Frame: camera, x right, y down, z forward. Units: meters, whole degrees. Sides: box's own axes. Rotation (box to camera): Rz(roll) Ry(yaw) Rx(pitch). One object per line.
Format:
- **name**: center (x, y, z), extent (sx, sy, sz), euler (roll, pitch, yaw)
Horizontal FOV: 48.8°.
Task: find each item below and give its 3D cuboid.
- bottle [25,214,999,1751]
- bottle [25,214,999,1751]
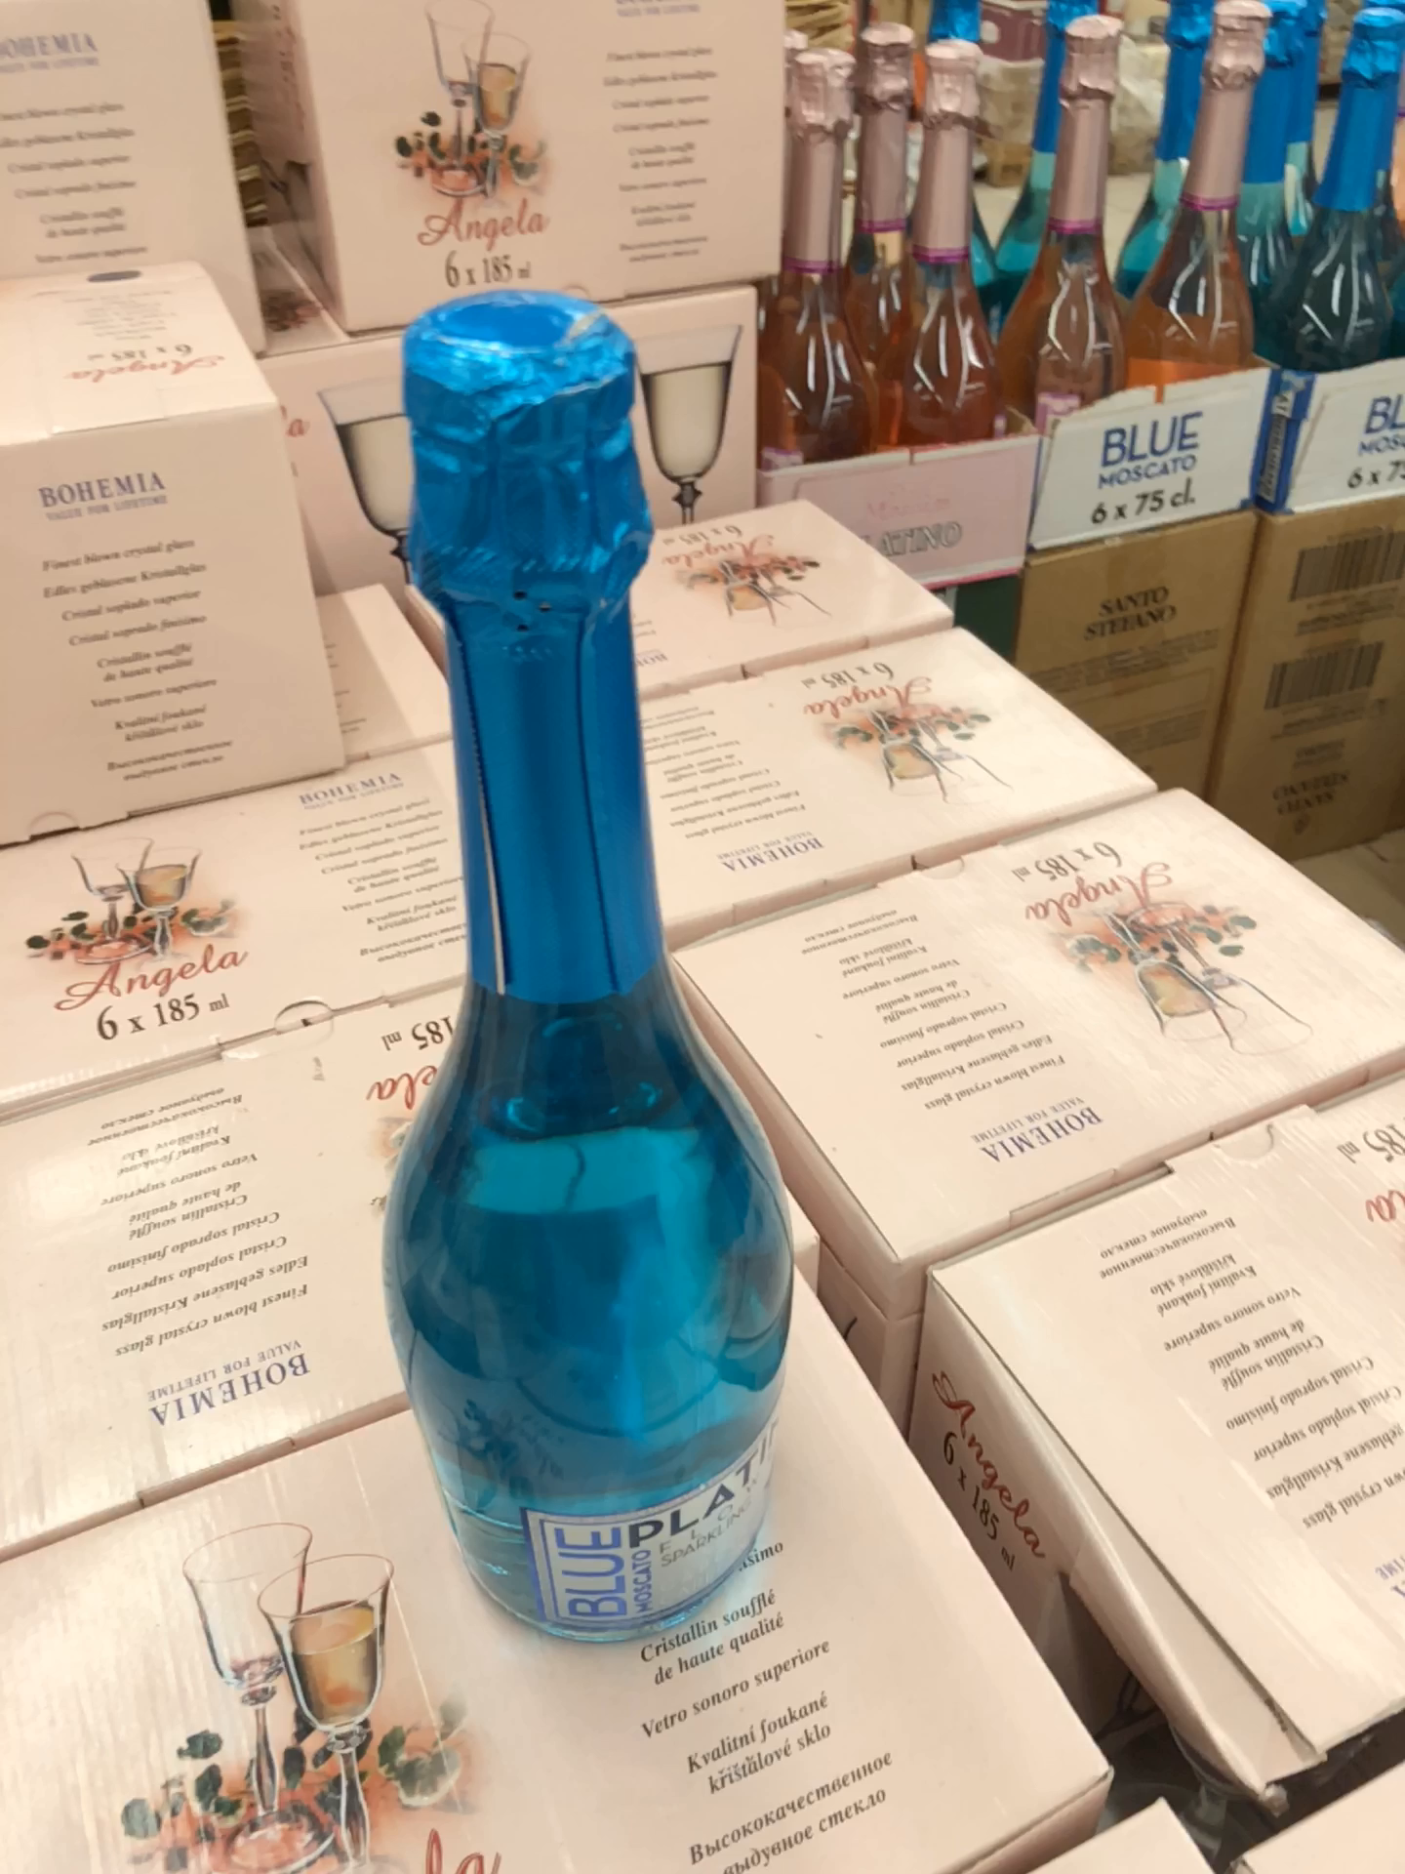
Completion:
- **bottle**: center (-0.029, 0.024, 0.308), extent (0.100, 0.278, 0.100), euler (0, 38, 0)
- **bottle**: center (-0.029, 0.024, 0.308), extent (0.100, 0.278, 0.100), euler (0, 38, 0)
